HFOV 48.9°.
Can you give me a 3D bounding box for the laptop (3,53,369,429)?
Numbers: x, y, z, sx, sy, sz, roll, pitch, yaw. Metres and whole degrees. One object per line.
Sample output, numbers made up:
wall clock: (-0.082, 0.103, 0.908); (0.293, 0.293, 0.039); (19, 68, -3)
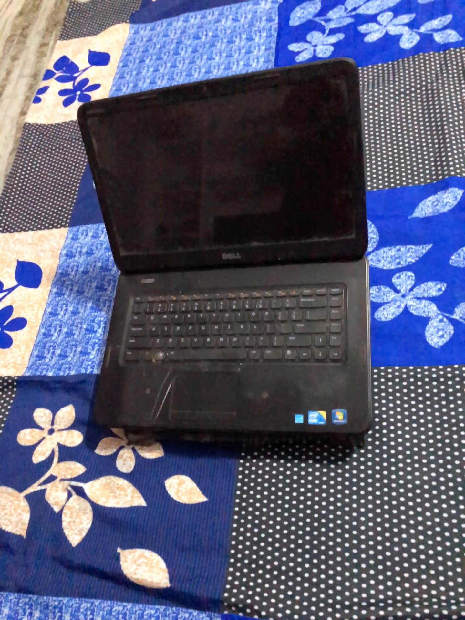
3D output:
laptop: (-0.022, -0.073, 0.647); (0.363, 0.187, 0.390); (-2, 63, 15)
